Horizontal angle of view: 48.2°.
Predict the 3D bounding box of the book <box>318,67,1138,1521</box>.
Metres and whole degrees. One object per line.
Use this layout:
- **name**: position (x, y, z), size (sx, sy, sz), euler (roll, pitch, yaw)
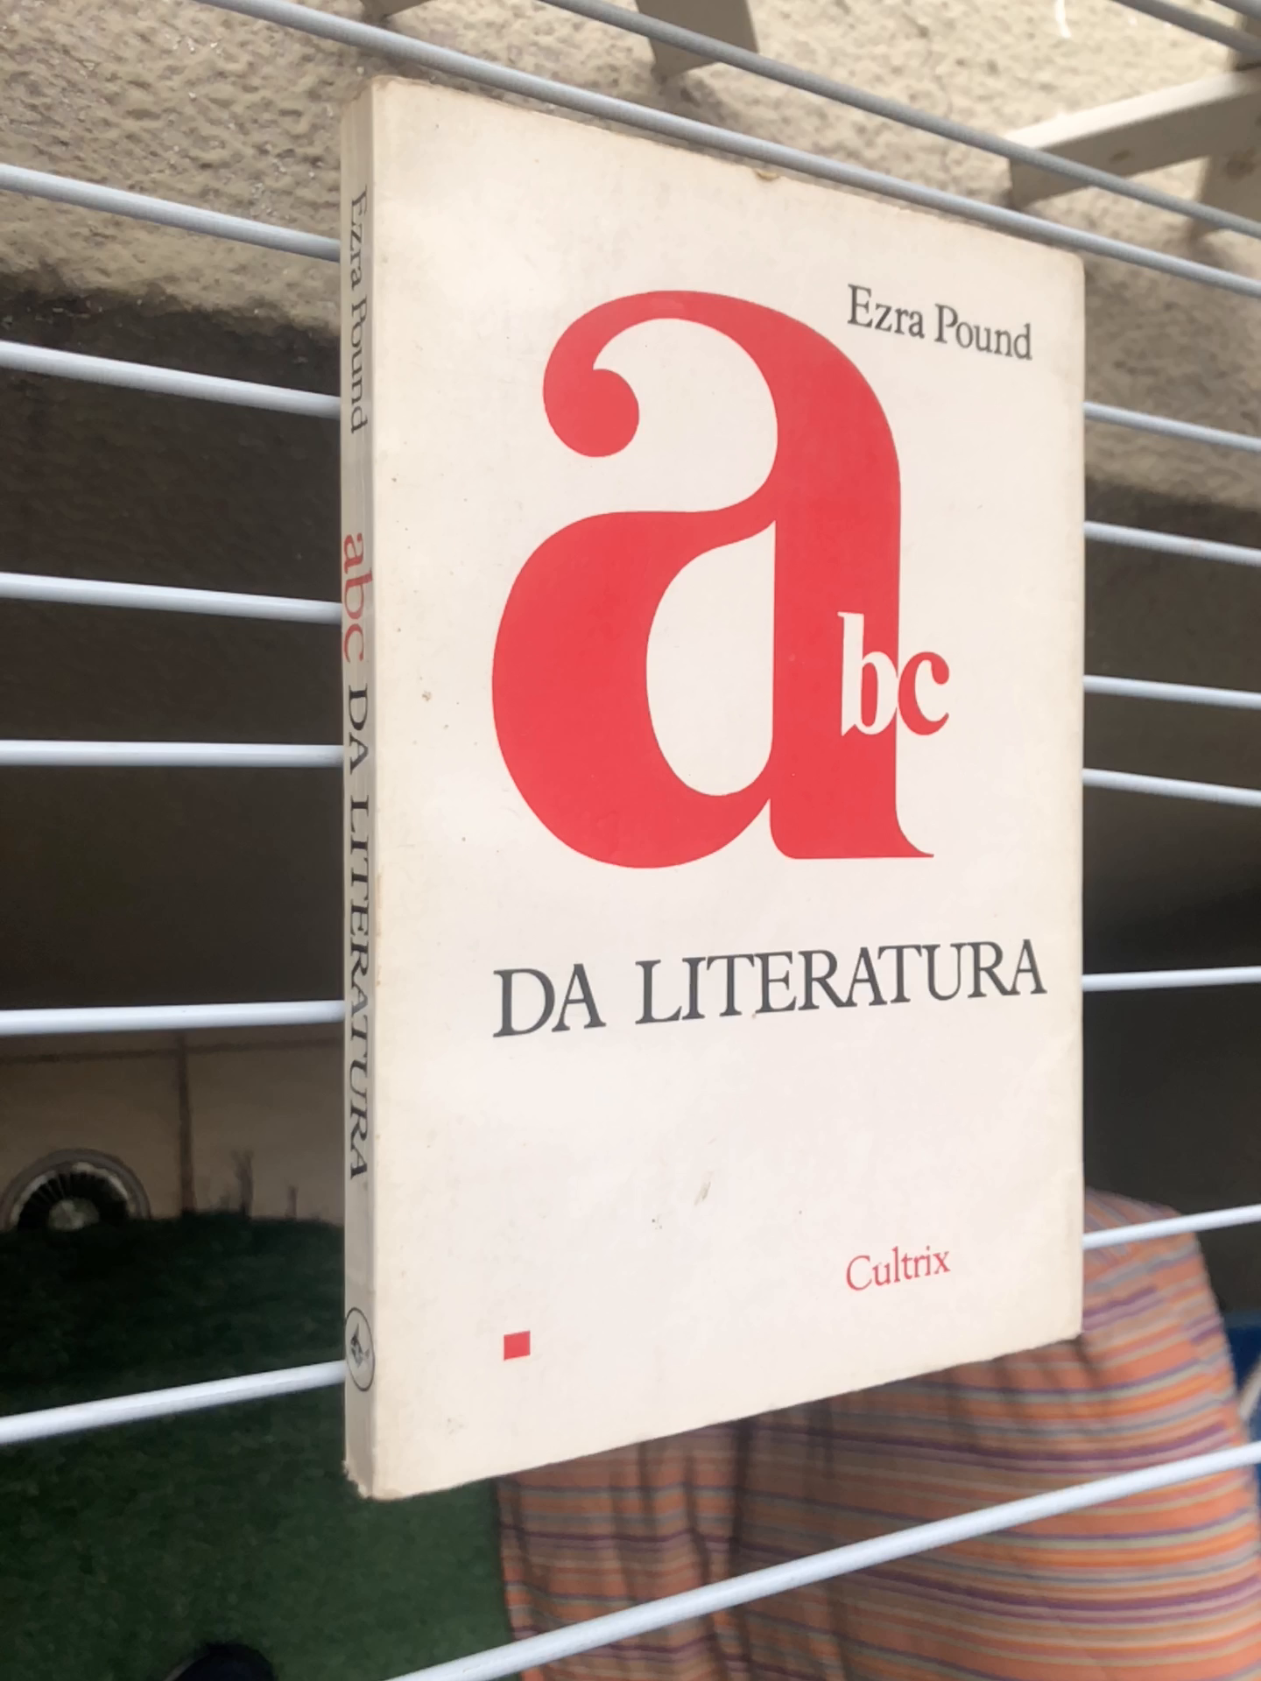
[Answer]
- **book**: position (0.022, -0.006, 0.222), size (0.141, 0.017, 0.187), euler (-1, 92, -29)
